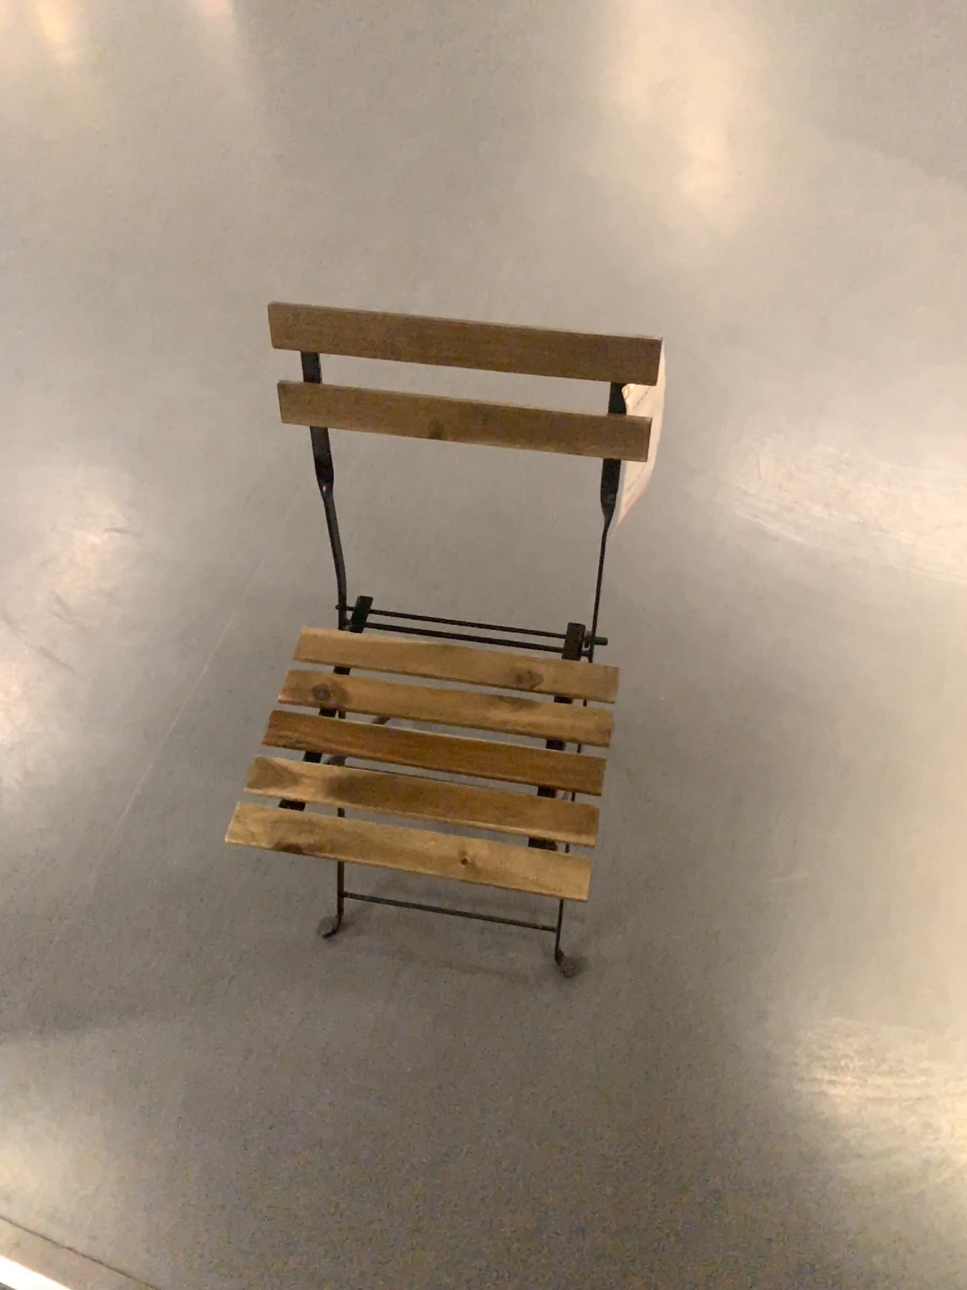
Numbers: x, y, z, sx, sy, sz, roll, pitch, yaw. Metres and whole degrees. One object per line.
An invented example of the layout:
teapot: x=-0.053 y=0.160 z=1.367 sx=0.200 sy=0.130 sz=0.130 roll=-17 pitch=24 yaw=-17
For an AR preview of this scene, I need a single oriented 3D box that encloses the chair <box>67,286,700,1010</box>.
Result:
chair: x=-0.034 y=0.059 z=1.128 sx=0.430 sy=0.699 sz=0.501 roll=7 pitch=61 yaw=8
